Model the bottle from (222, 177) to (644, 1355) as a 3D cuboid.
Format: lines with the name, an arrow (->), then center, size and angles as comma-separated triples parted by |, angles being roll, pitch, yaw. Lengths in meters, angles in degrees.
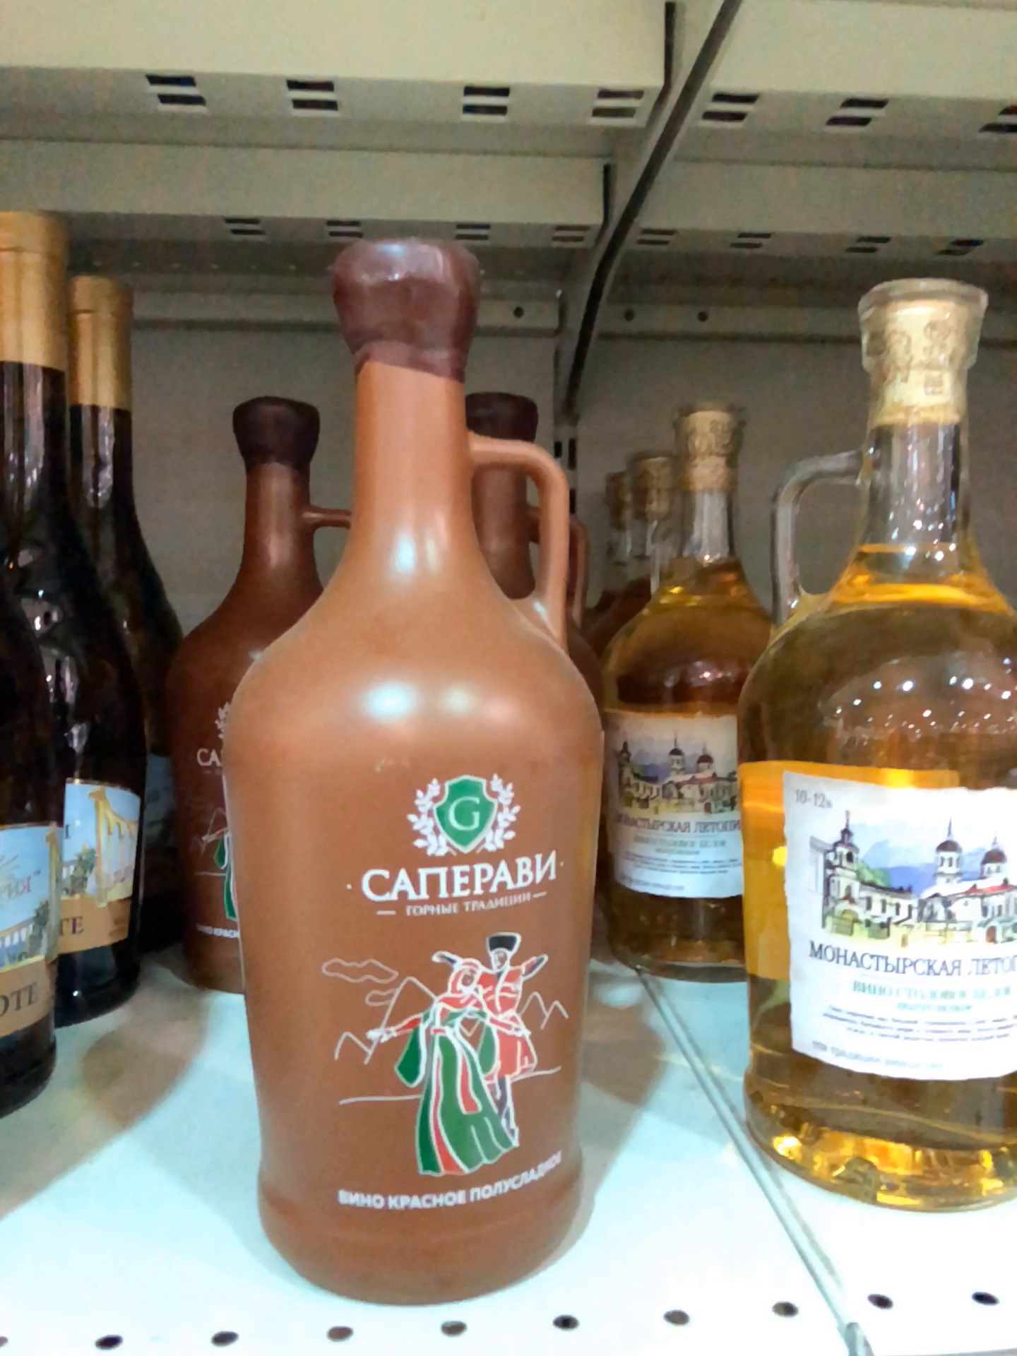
bottle -> -0.025, 0.019, 0.291 | 0.090, 0.250, 0.090 | 0, 2, 0
